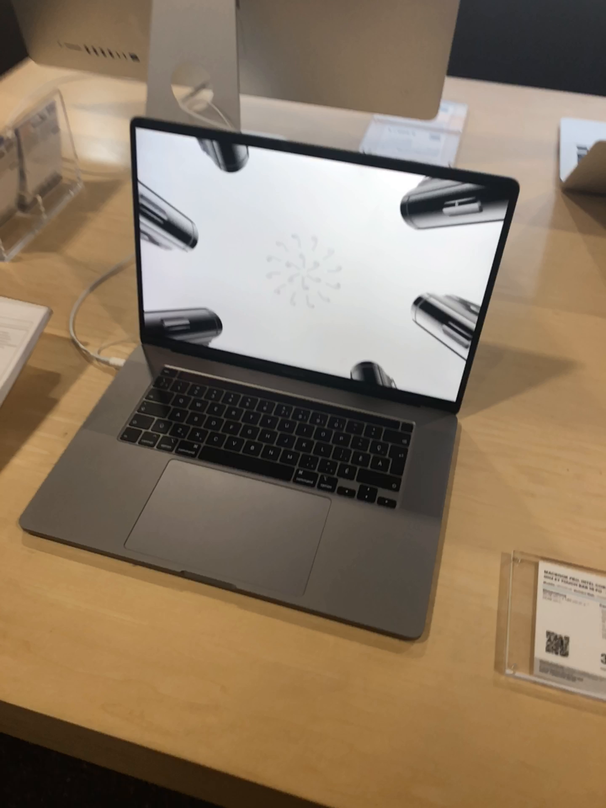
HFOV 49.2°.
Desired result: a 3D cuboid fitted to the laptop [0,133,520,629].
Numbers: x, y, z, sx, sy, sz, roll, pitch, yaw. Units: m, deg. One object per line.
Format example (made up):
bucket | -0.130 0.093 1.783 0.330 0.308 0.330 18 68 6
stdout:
laptop | -0.031 -0.035 0.560 0.344 0.227 0.292 12 48 10
